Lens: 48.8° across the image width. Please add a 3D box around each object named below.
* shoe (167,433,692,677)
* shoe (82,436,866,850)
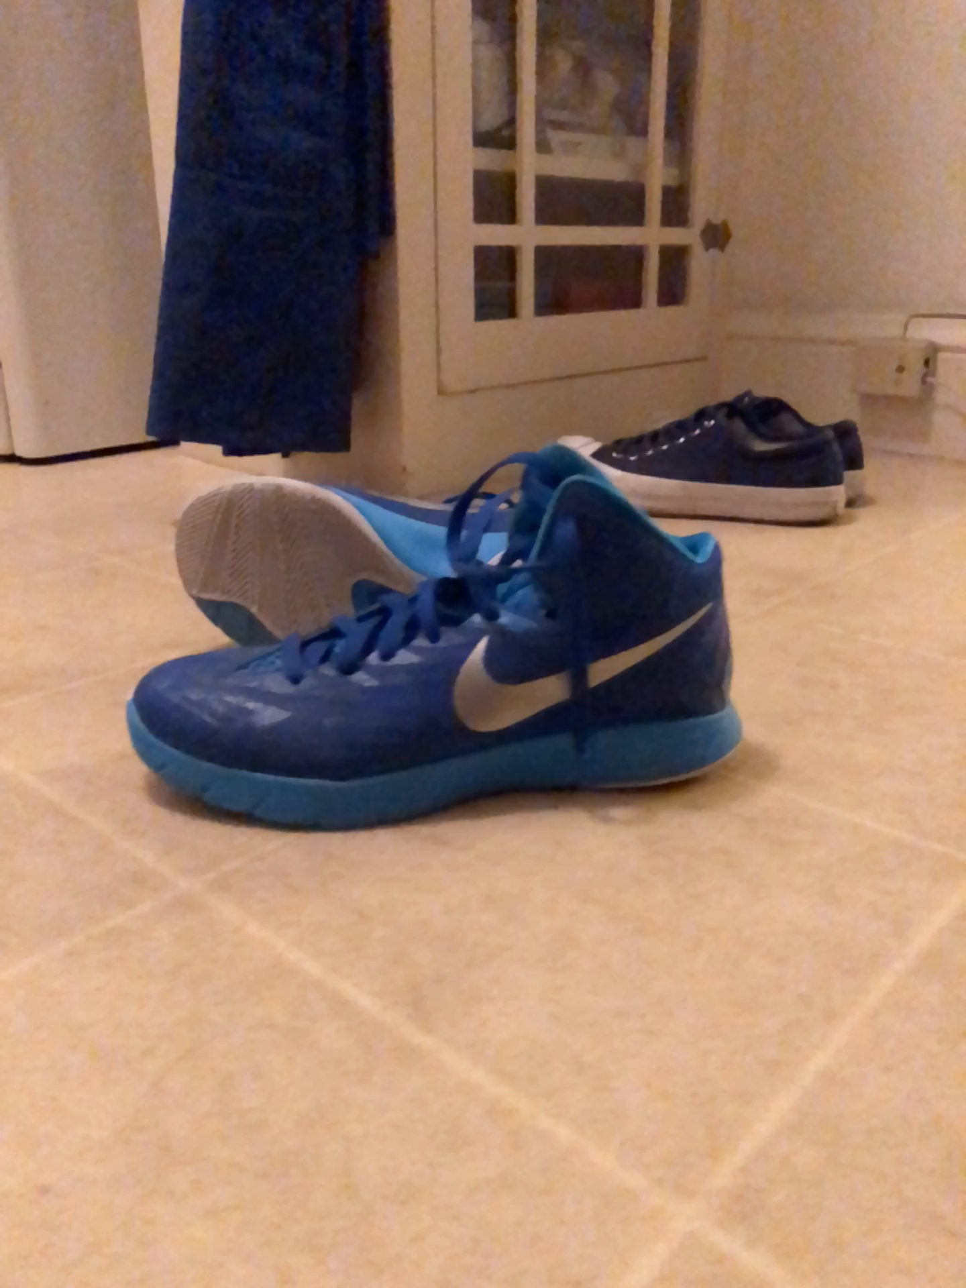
[{"bbox_3d":[-0.025,-0.063,0.657,0.281,0.120,0.160,1,15,4],"label":"shoe"},{"bbox_3d":[-0.004,-0.011,0.497,0.310,0.144,0.121,-3,20,-8],"label":"shoe"}]
